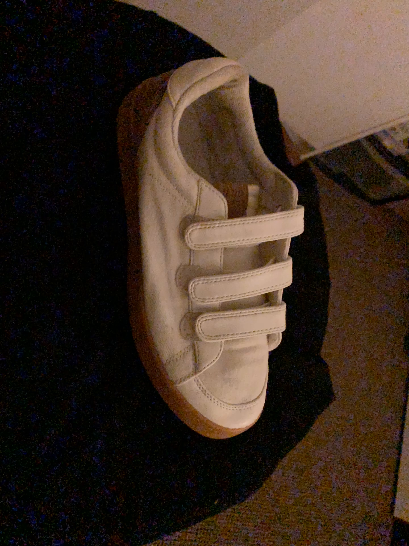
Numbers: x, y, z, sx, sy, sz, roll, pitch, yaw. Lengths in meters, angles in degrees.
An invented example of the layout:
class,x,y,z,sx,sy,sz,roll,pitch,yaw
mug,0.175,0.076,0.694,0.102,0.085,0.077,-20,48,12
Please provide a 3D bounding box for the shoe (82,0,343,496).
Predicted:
class,x,y,z,sx,sy,sz,roll,pitch,yaw
shoe,0.004,-0.018,0.270,0.096,0.080,0.254,-10,91,-36
